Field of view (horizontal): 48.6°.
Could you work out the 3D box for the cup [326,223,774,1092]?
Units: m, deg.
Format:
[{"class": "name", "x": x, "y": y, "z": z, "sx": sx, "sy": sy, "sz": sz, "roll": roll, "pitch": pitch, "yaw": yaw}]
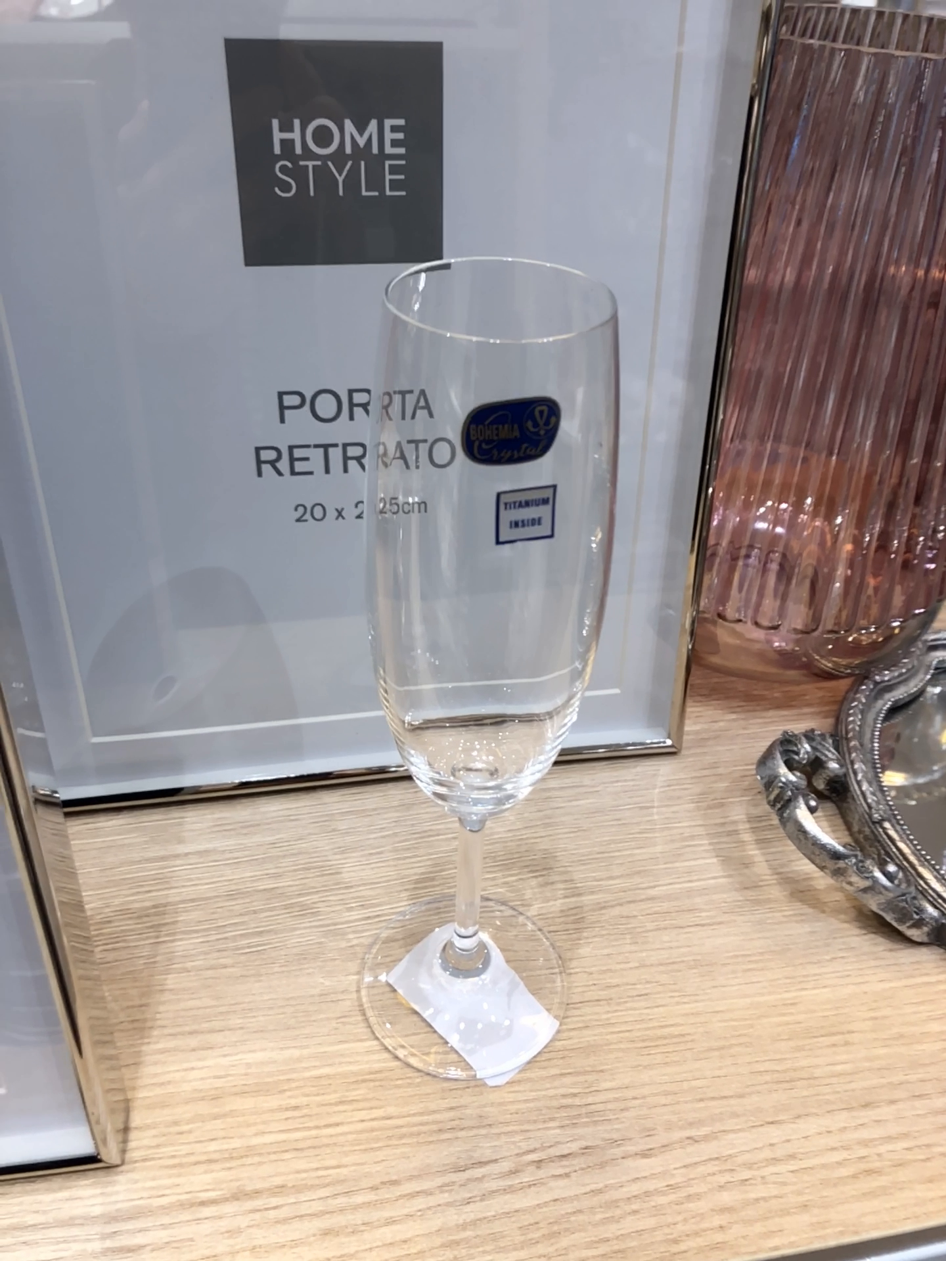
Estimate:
[{"class": "cup", "x": 0.007, "y": 0.020, "z": 0.269, "sx": 0.070, "sy": 0.218, "sz": 0.070, "roll": 2, "pitch": 37, "yaw": -1}]
